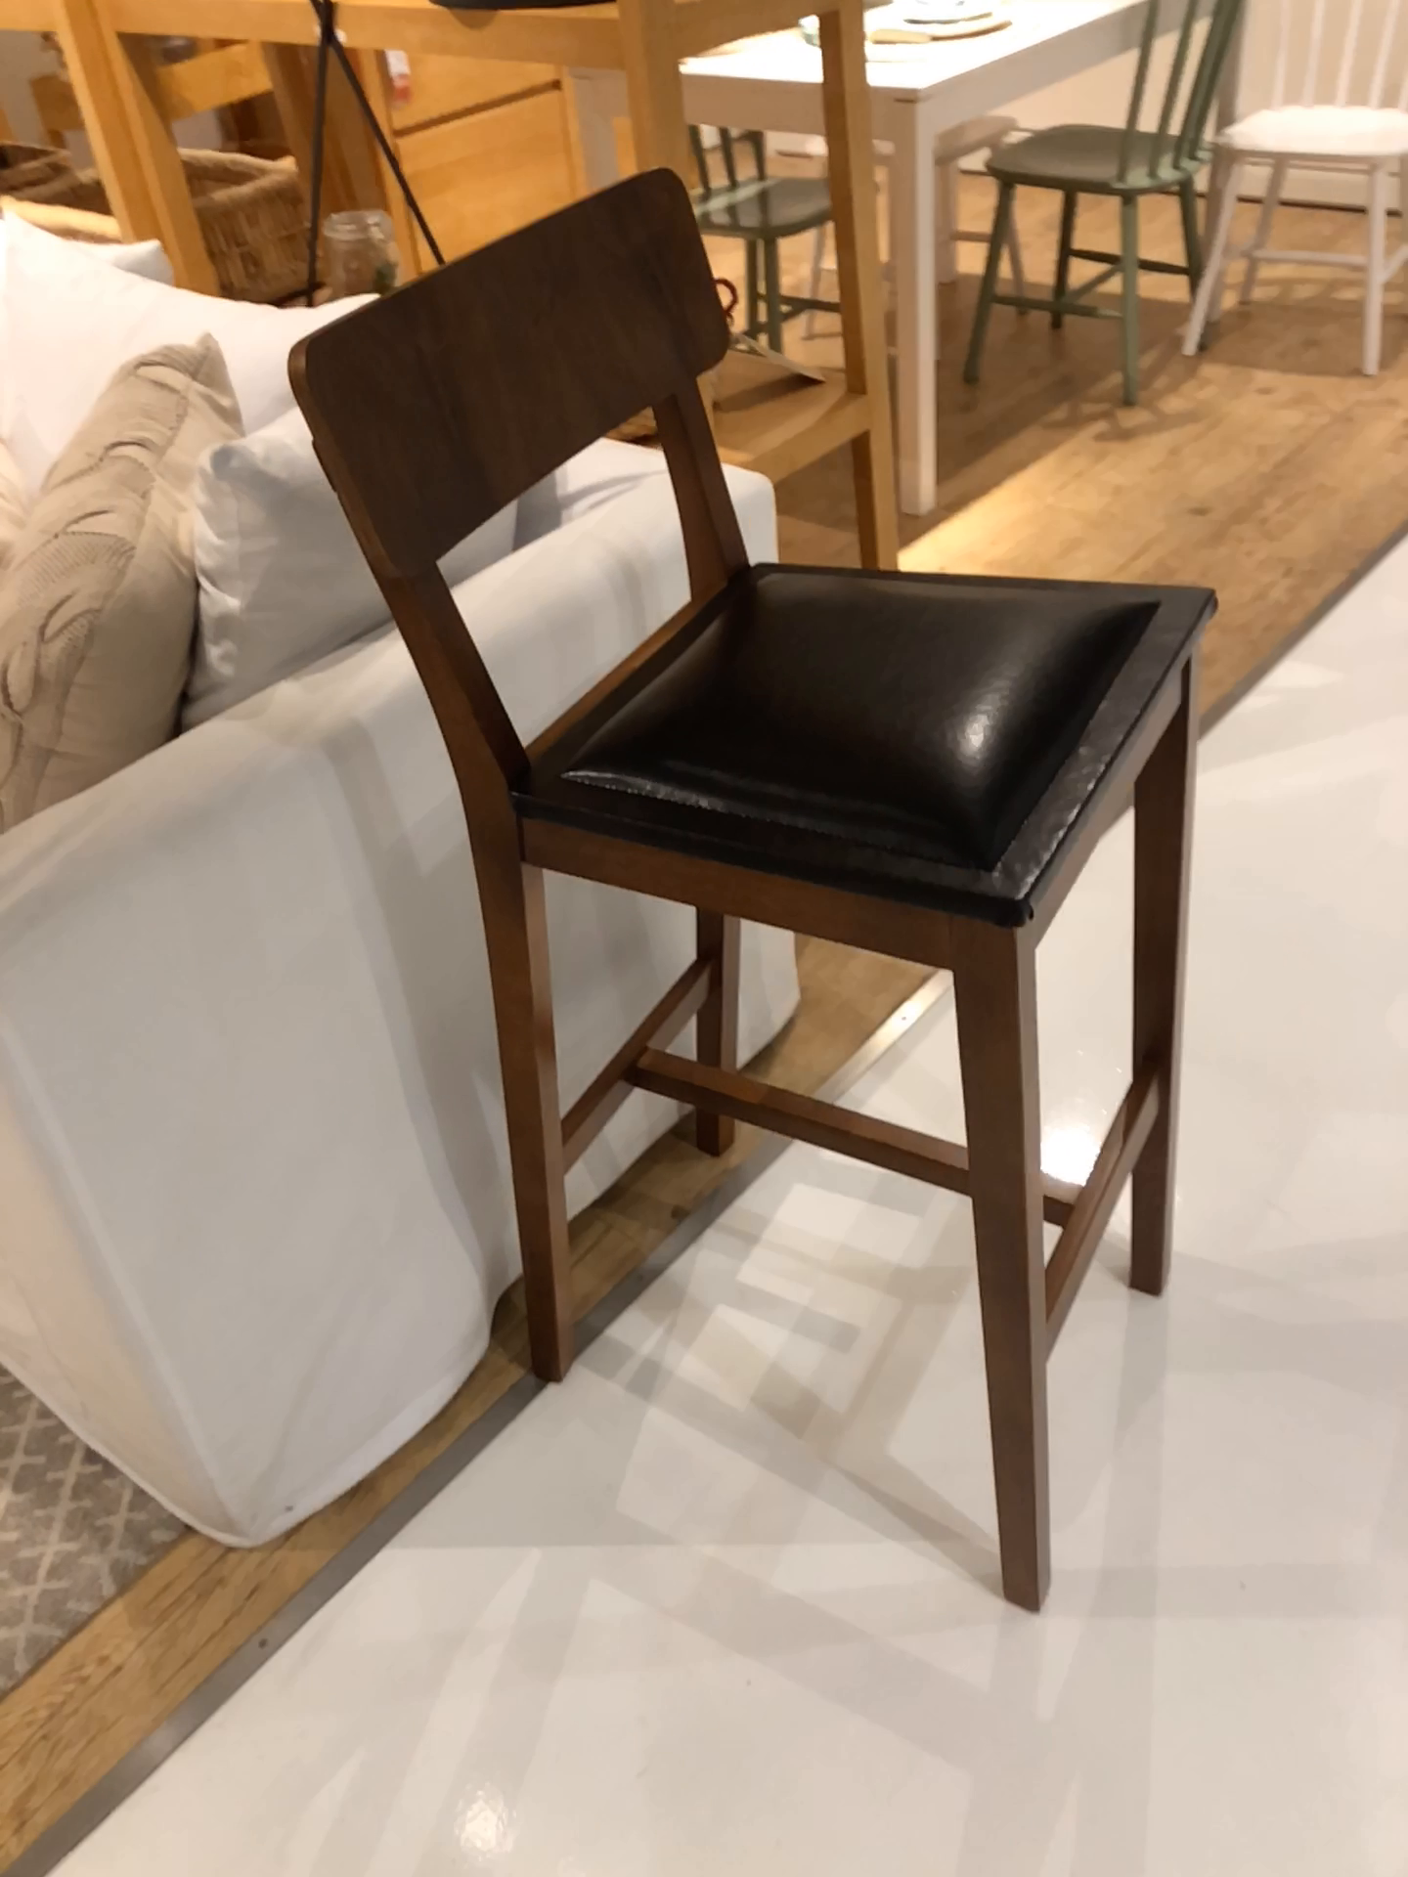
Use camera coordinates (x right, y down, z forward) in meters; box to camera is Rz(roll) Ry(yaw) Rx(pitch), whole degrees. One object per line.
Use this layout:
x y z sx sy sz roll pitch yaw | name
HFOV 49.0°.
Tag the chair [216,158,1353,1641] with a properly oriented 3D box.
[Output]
0.104 -0.007 1.219 0.531 1.002 0.443 15 43 25 | chair
